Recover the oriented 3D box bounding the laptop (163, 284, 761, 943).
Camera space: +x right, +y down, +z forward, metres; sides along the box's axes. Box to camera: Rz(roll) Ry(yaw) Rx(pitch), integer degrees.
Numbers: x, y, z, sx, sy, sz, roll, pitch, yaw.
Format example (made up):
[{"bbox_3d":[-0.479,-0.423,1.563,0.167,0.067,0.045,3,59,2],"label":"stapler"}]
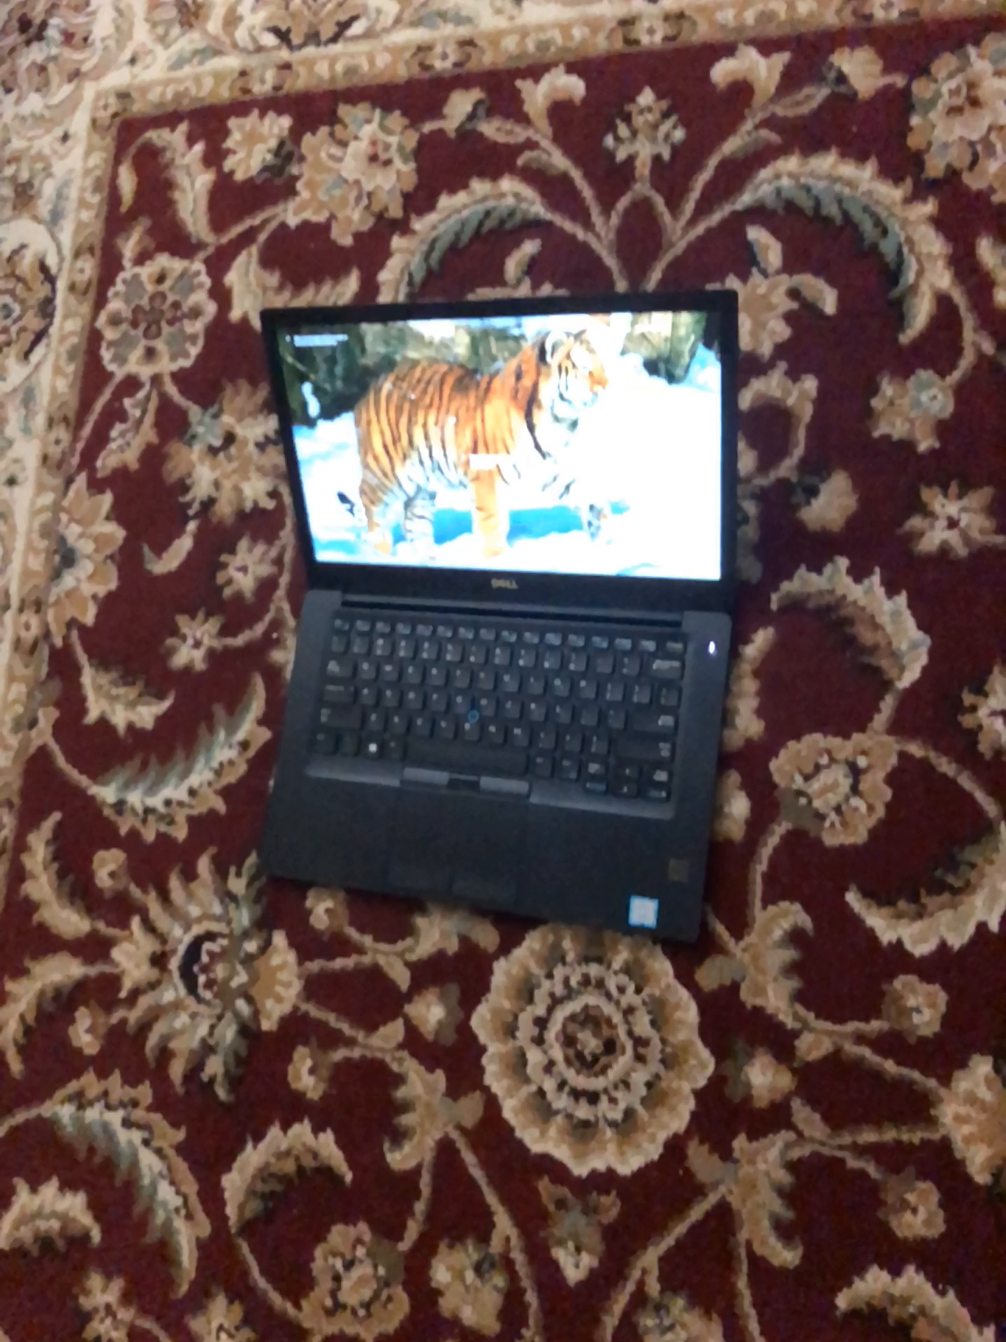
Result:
[{"bbox_3d":[-0.020,-0.040,0.745,0.329,0.124,0.383,4,81,20],"label":"laptop"}]
